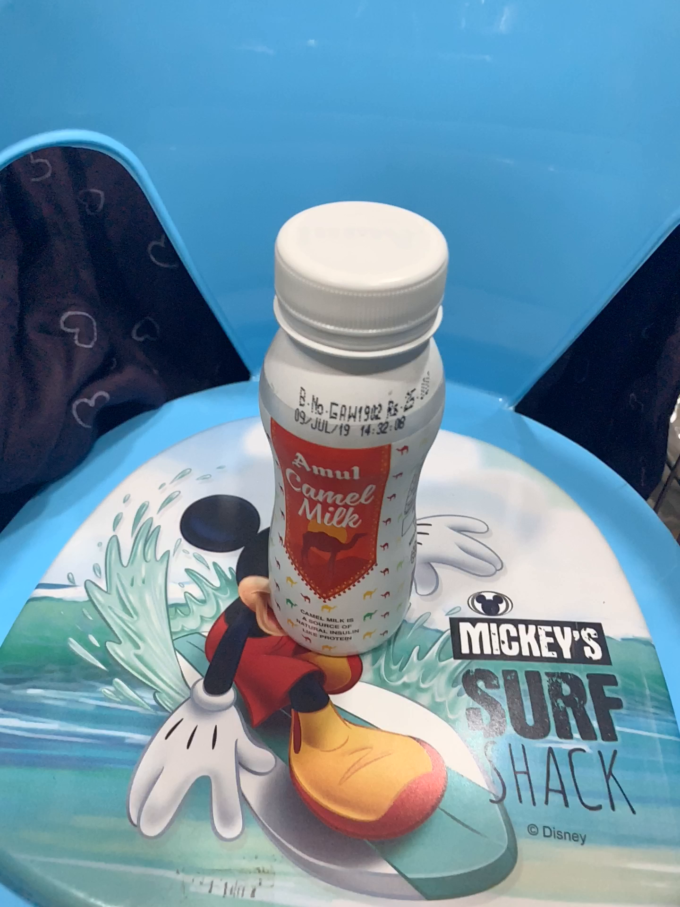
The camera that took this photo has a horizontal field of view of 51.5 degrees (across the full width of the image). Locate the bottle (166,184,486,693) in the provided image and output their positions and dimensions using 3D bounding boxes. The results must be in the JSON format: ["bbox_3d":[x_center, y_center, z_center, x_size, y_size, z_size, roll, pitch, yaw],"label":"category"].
[{"bbox_3d":[-0.001,0.001,0.206,0.060,0.130,0.060,1,40,-1],"label":"bottle"}]
